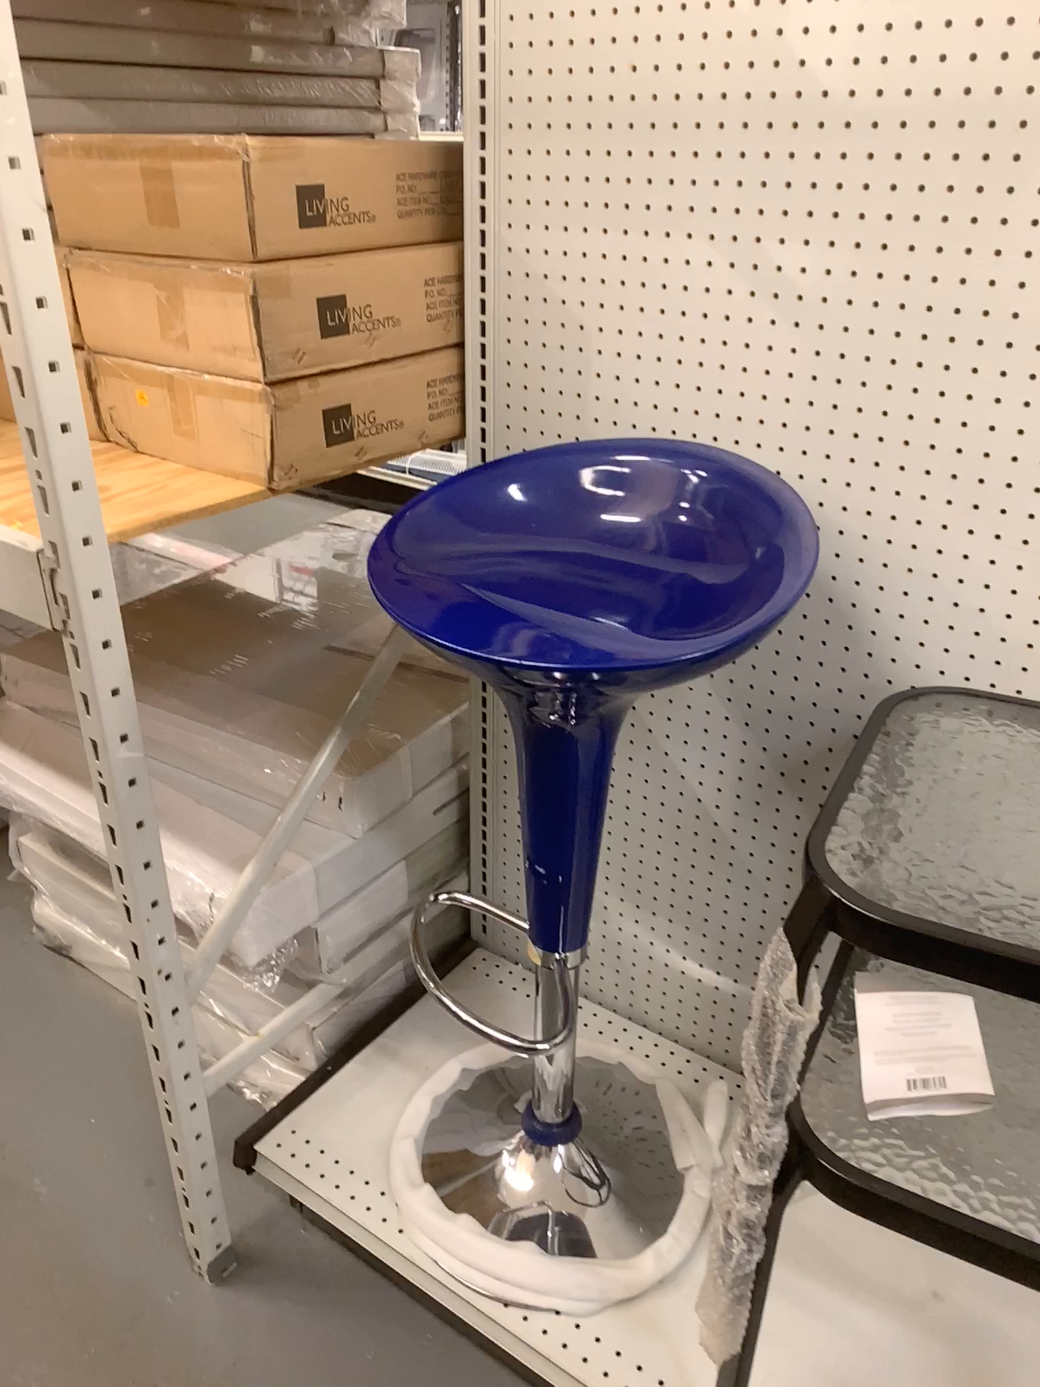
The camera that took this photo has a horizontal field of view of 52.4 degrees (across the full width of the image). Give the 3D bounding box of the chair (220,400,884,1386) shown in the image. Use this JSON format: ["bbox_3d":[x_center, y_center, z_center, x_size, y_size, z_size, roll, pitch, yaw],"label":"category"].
[{"bbox_3d":[0.037,0.181,1.127,0.435,0.853,0.419,17,30,30],"label":"chair"}]
